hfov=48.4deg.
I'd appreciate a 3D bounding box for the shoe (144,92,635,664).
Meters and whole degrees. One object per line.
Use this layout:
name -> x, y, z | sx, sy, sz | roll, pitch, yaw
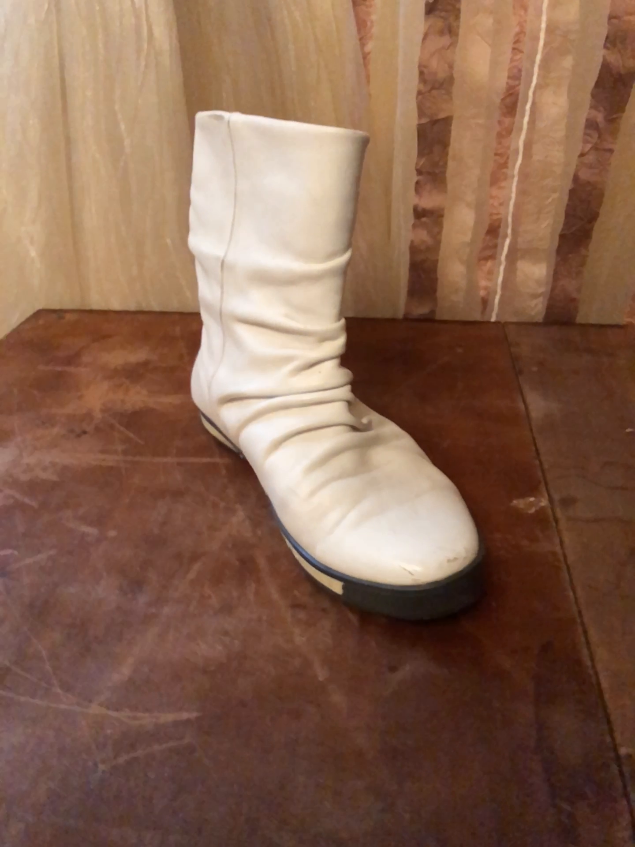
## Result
shoe -> 0.008, -0.051, 0.330 | 0.100, 0.169, 0.241 | -14, 32, -22
